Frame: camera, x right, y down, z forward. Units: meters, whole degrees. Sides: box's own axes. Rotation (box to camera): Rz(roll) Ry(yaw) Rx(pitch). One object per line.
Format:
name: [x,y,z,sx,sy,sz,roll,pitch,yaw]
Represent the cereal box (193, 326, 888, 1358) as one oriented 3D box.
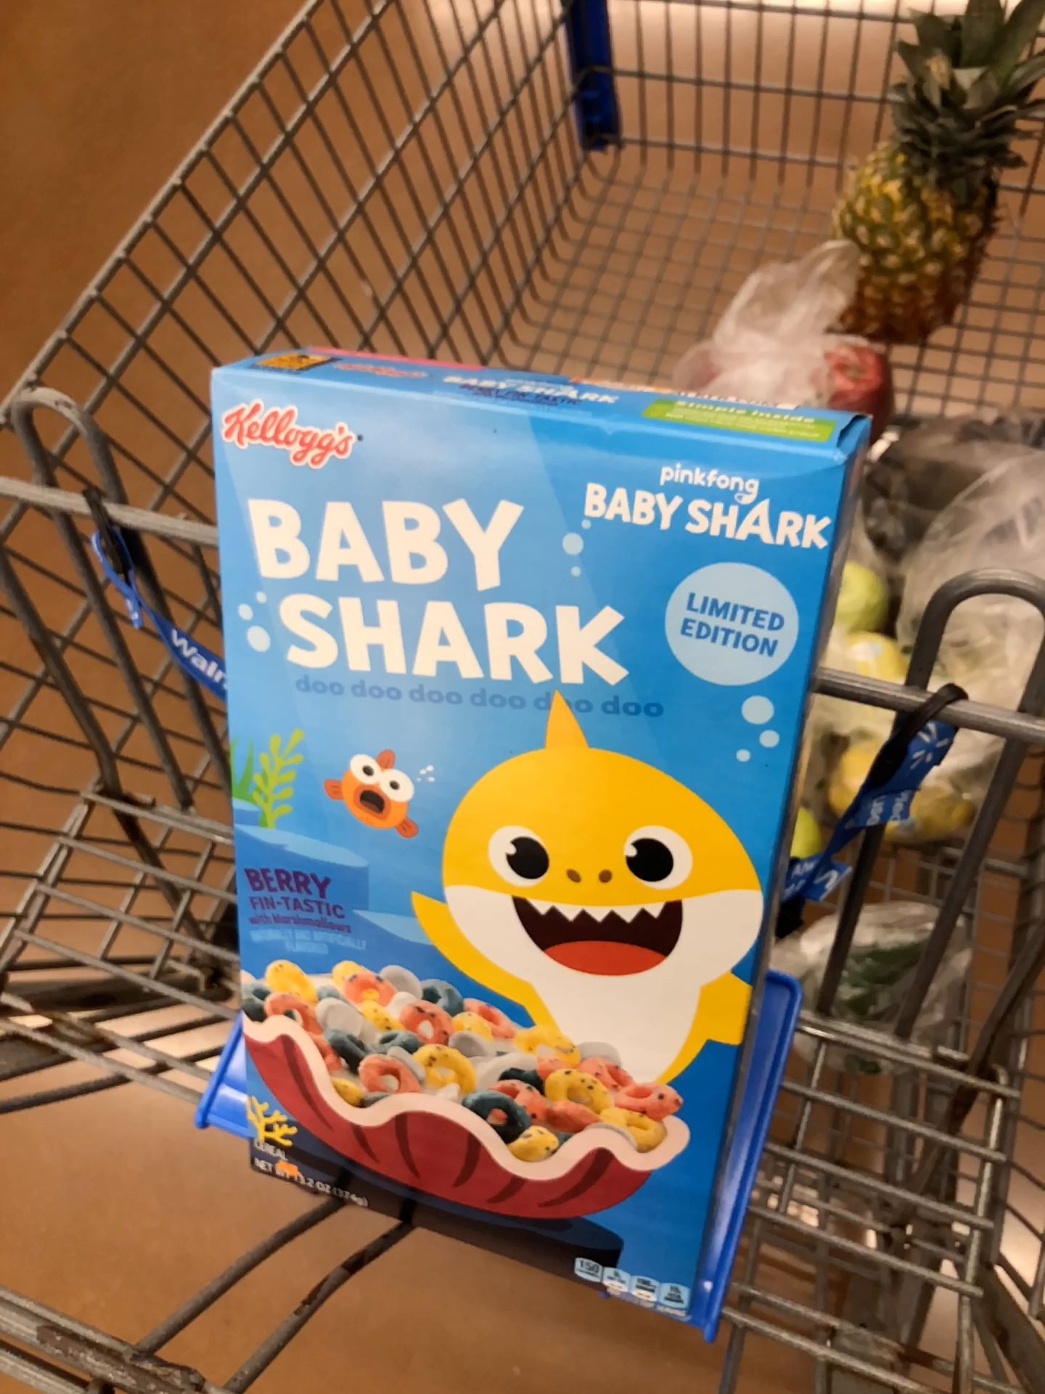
cereal box: [-0.006,0.061,0.416,0.190,0.340,0.070,13,28,16]
